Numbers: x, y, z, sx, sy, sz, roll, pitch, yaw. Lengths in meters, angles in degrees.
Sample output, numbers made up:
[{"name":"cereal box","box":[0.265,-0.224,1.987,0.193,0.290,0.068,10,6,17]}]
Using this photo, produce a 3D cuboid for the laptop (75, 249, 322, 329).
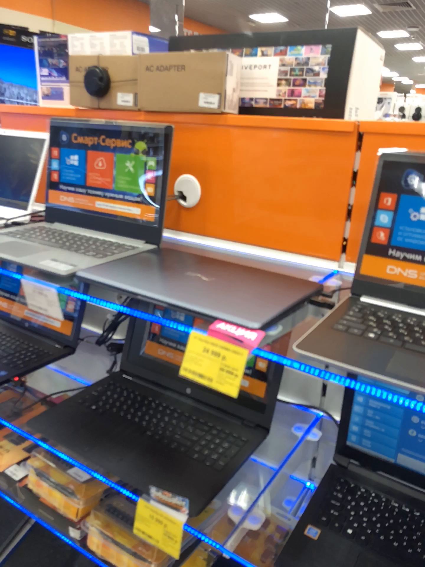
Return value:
[{"name":"laptop","box":[-0.022,-0.006,0.721,0.324,0.001,0.214,14,22,32]}]

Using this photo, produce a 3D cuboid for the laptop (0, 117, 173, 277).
[{"name":"laptop","box":[-0.301,-0.191,0.884,0.353,0.225,0.289,13,21,29]}]

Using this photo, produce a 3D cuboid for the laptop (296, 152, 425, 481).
[{"name":"laptop","box":[0.309,-0.021,0.508,0.336,0.205,0.272,14,22,29]}]

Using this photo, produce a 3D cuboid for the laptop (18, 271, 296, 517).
[{"name":"laptop","box":[-0.095,0.155,0.852,0.377,0.227,0.313,13,21,31]}]
